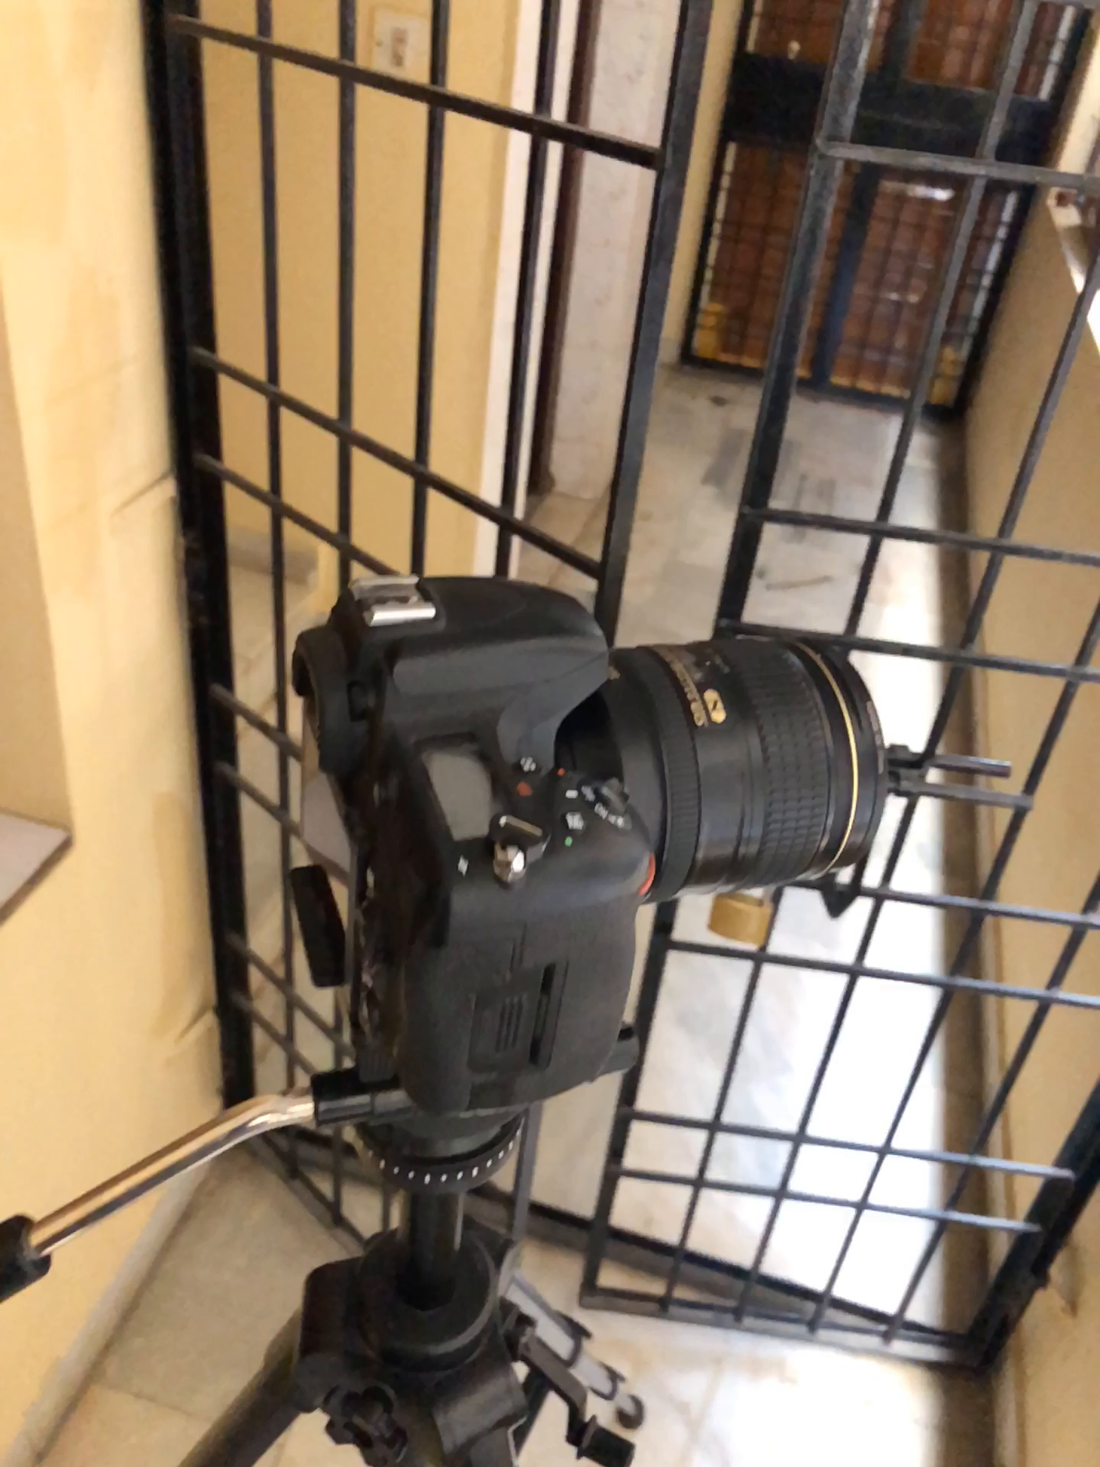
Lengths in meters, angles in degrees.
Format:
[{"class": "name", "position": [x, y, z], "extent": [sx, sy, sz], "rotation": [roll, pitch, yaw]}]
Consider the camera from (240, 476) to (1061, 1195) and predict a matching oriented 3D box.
[{"class": "camera", "position": [0.009, 0.012, 0.359], "extent": [0.171, 0.105, 0.171], "rotation": [-6, 37, -19]}]
